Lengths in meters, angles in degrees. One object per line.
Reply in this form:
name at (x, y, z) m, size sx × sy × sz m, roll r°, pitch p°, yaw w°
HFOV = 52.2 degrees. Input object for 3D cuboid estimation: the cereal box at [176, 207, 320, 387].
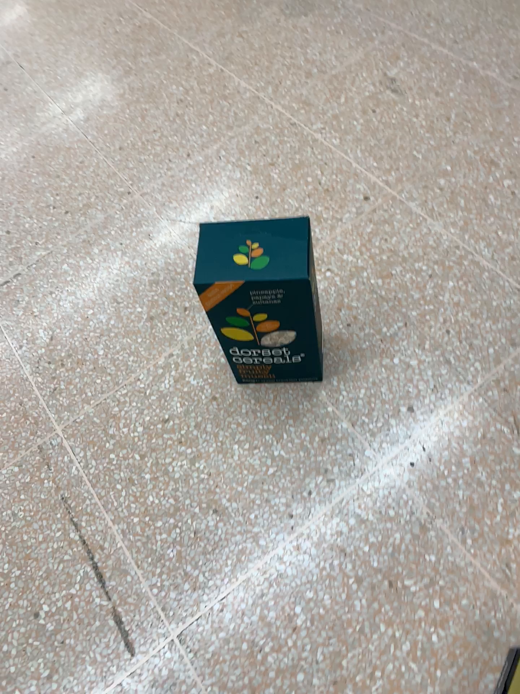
cereal box at (0.001, -0.042, 0.606) m, size 0.120 × 0.239 × 0.080 m, roll -2°, pitch 61°, yaw 9°
